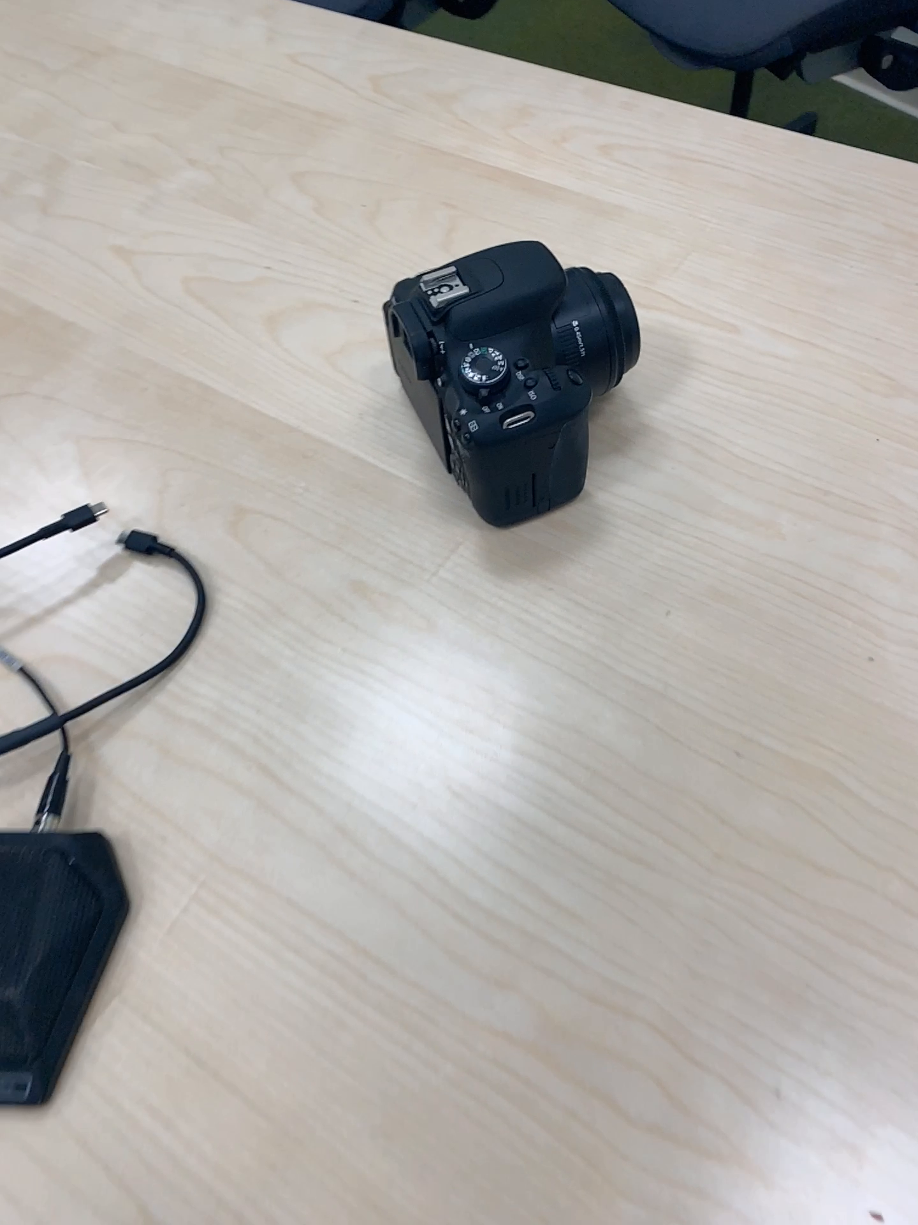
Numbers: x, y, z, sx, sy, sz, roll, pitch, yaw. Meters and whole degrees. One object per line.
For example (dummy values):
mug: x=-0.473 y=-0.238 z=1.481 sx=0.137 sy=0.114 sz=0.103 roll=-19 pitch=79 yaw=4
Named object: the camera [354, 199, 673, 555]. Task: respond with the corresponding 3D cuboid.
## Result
camera: x=0.027 y=-0.129 z=0.517 sx=0.118 sy=0.100 sz=0.130 roll=-21 pitch=58 yaw=-7
